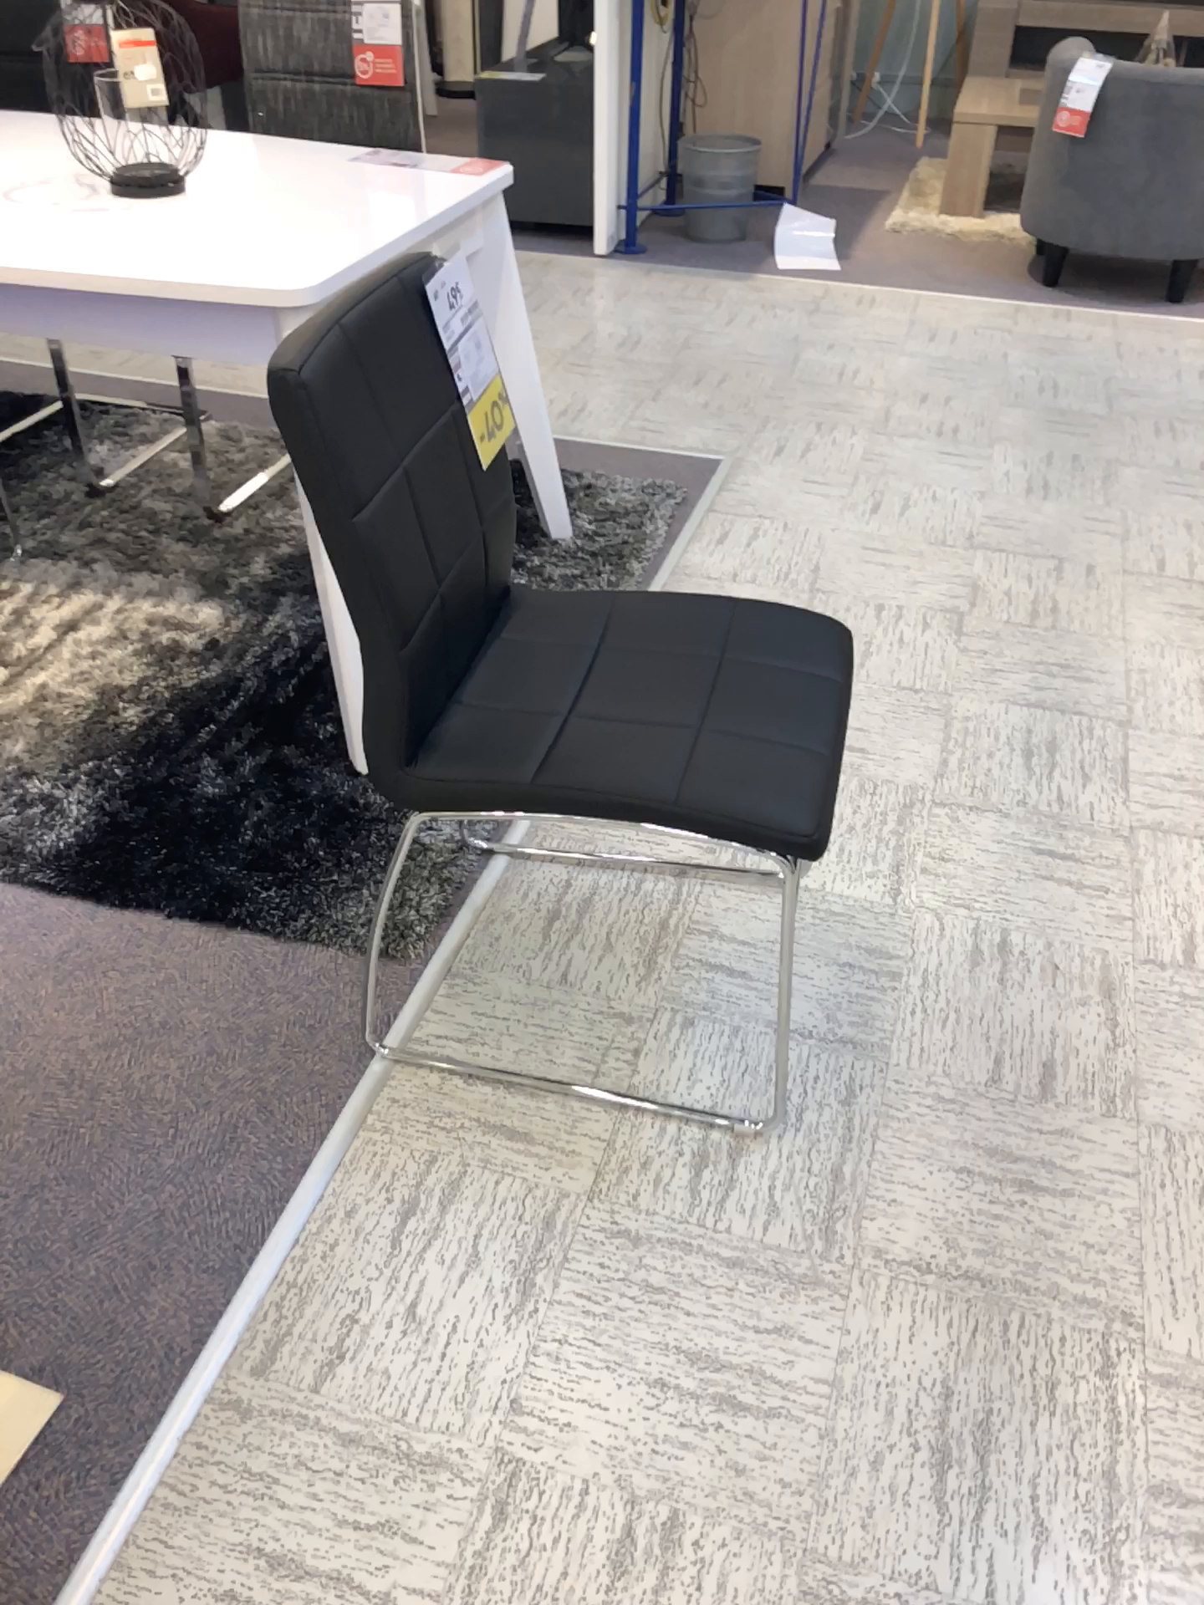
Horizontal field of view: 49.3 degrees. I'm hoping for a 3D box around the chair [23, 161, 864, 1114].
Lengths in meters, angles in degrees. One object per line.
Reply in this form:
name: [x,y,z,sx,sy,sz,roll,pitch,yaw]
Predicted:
chair: [-0.093,-0.181,1.428,0.630,0.795,0.554,7,39,7]
